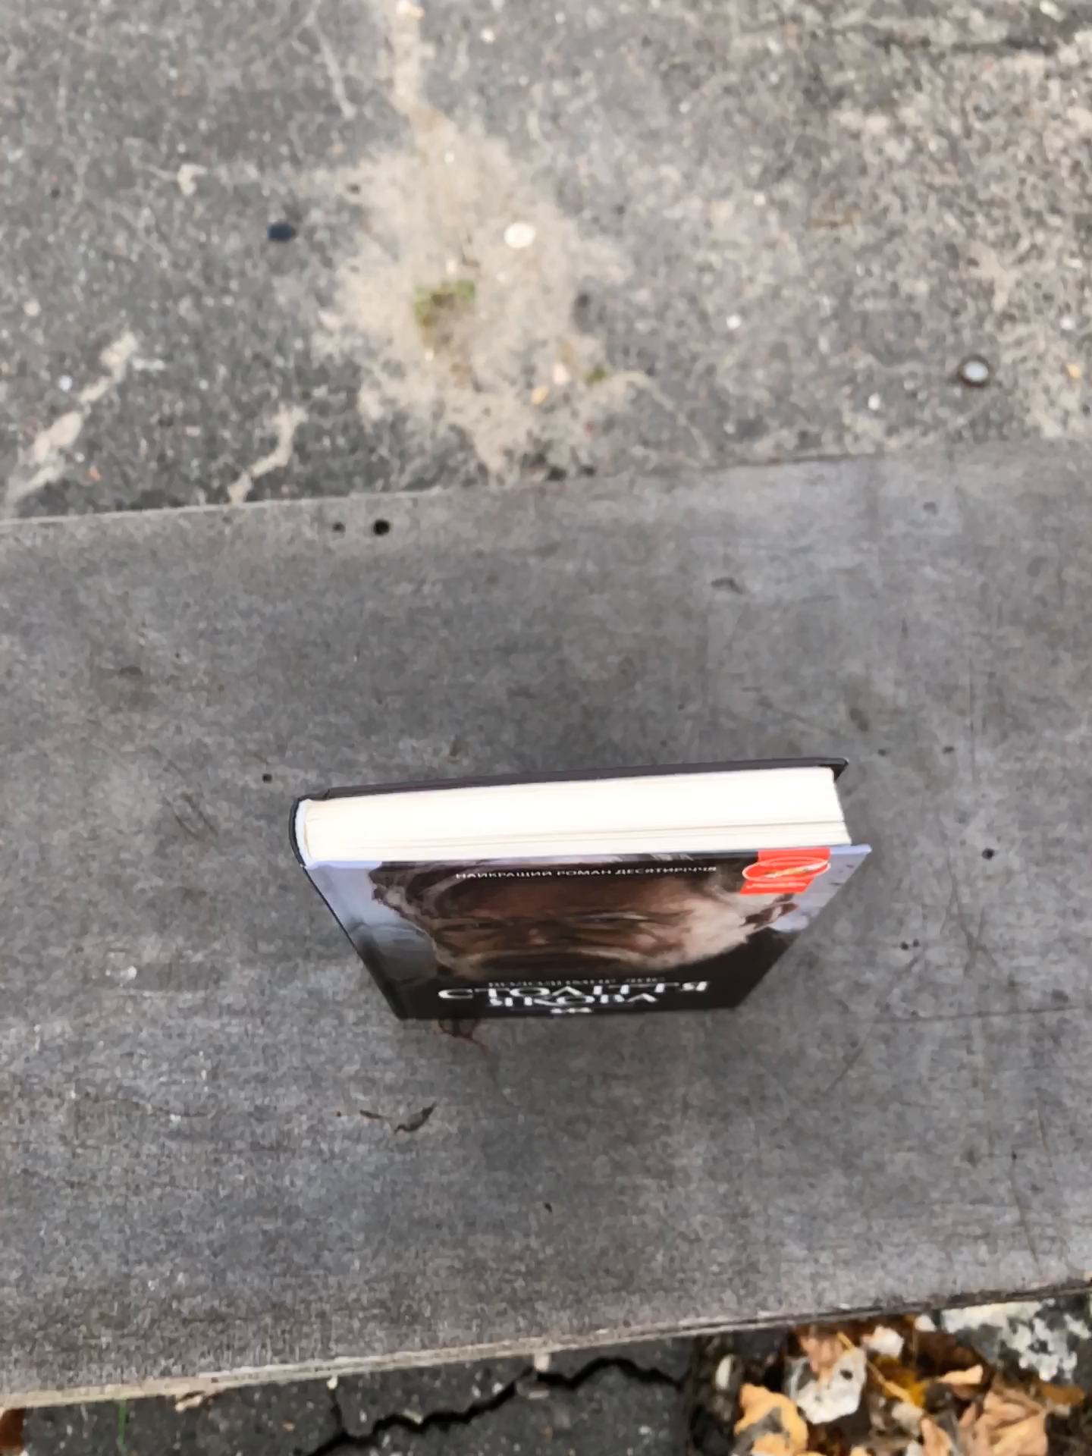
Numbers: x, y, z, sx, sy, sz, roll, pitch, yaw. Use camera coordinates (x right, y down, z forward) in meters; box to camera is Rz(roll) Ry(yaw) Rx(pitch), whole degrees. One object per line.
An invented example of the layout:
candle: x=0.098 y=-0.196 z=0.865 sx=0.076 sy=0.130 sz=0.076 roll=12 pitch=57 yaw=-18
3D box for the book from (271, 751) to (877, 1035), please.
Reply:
book: x=0.007 y=0.063 z=0.384 sx=0.140 sy=0.212 sz=0.030 roll=-1 pitch=66 yaw=0
